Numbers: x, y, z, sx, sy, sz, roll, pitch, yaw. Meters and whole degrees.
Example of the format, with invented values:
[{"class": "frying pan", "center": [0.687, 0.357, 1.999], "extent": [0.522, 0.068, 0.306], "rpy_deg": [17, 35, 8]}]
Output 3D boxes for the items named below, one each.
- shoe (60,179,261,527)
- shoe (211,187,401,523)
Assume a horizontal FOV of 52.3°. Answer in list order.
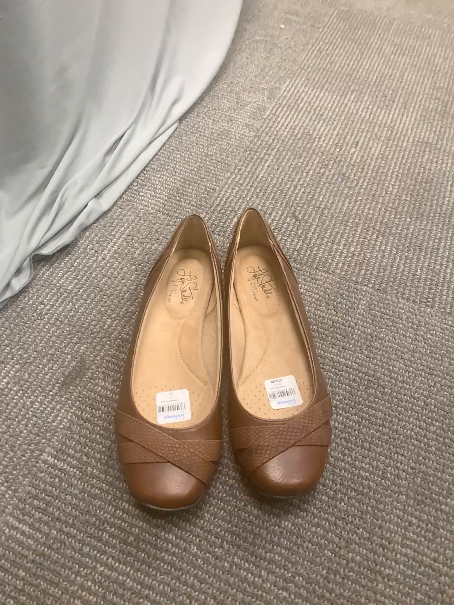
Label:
[{"class": "shoe", "center": [-0.037, 0.028, 0.387], "extent": [0.099, 0.084, 0.270], "rpy_deg": [7, 57, 2]}, {"class": "shoe", "center": [0.046, 0.030, 0.396], "extent": [0.098, 0.084, 0.271], "rpy_deg": [-3, 58, -5]}]
